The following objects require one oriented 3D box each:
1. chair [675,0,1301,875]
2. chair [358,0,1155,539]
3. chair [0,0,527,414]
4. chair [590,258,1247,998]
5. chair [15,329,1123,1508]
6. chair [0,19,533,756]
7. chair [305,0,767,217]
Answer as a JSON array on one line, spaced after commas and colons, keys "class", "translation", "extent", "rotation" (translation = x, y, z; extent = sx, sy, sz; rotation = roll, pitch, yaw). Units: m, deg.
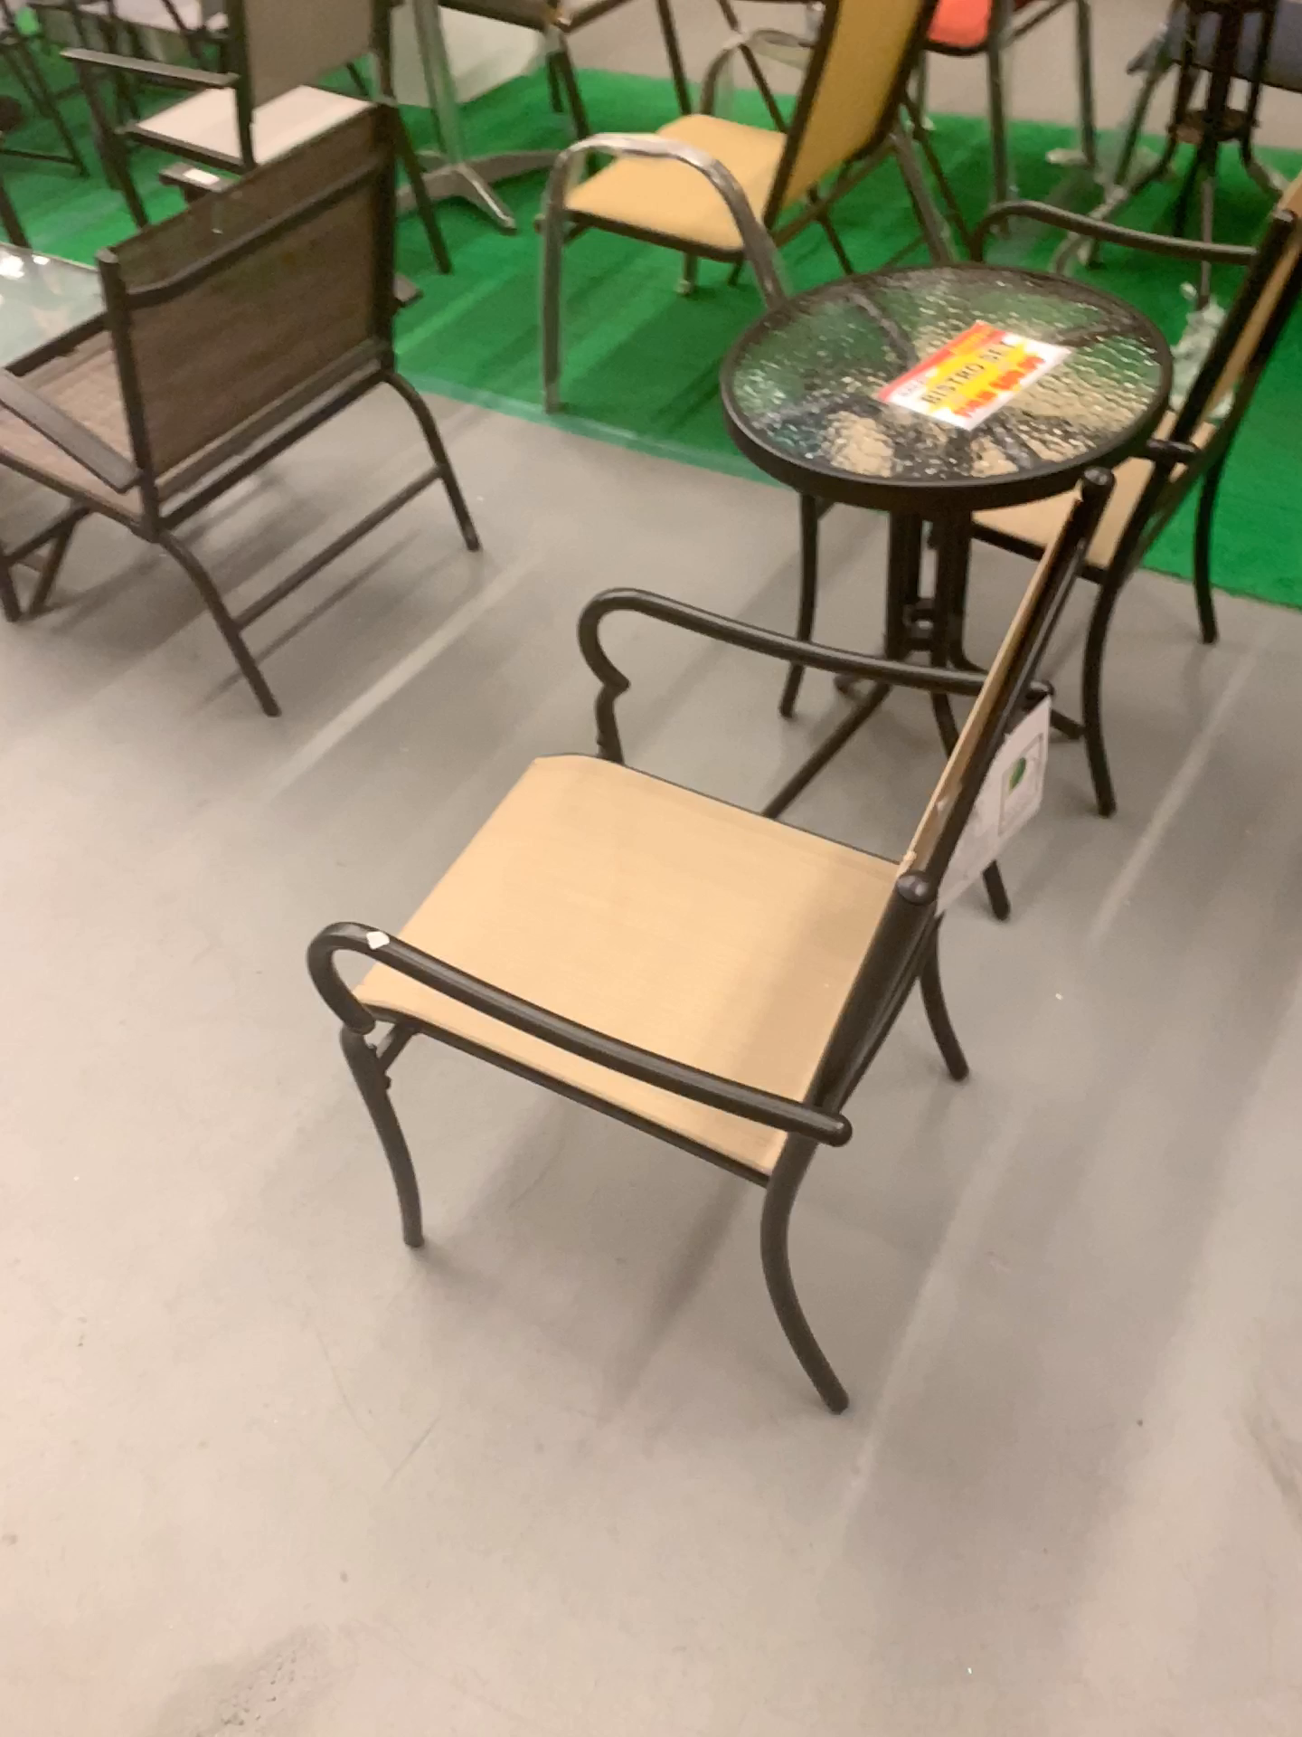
[{"class": "chair", "translation": [0.522, -0.619, 1.792], "extent": [0.676, 0.922, 0.616], "rotation": [22, 54, 25]}, {"class": "chair", "translation": [0.219, -1.378, 2.515], "extent": [1.027, 0.982, 0.806], "rotation": [23, 55, 26]}, {"class": "chair", "translation": [-0.918, -1.733, 3.094], "extent": [0.887, 0.922, 0.676], "rotation": [23, 55, 26]}, {"class": "chair", "translation": [0.335, -0.314, 1.700], "extent": [0.546, 0.634, 0.526], "rotation": [21, 54, 25]}, {"class": "chair", "translation": [0.006, 0.065, 1.285], "extent": [0.616, 0.863, 0.576], "rotation": [17, 52, 22]}, {"class": "chair", "translation": [-0.818, -0.829, 2.228], "extent": [0.887, 0.803, 0.676], "rotation": [23, 55, 26]}, {"class": "chair", "translation": [-0.258, -2.403, 3.585], "extent": [0.887, 0.873, 0.676], "rotation": [23, 55, 26]}]
